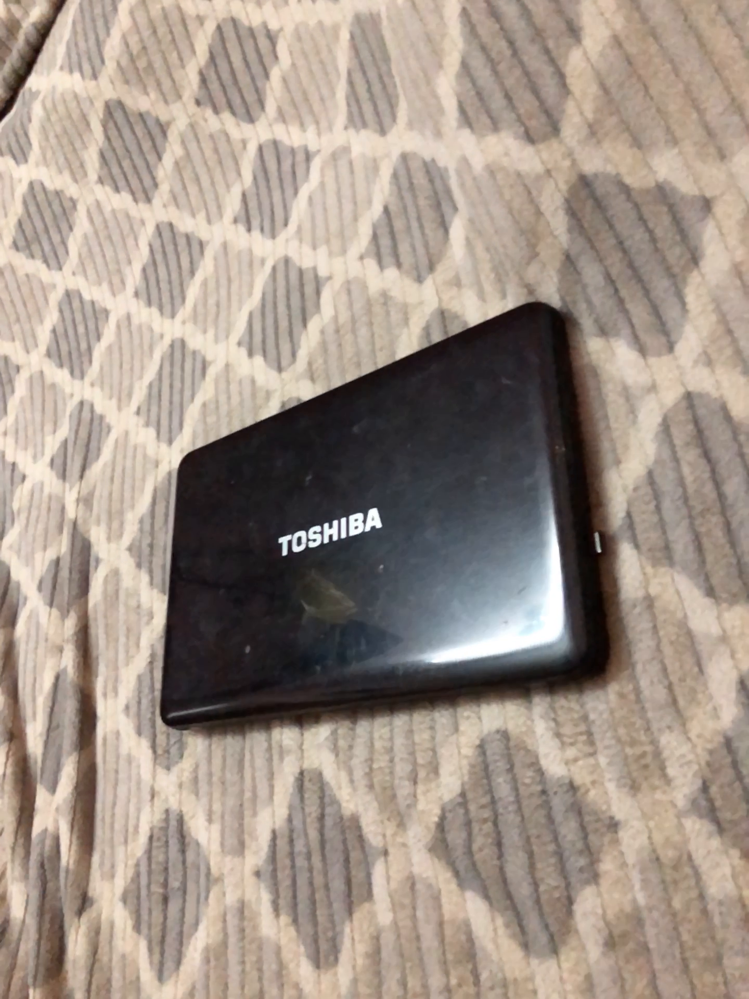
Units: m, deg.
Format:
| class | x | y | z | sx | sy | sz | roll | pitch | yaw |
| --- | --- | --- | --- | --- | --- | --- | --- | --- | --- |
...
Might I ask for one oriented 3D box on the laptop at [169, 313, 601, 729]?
| class | x | y | z | sx | sy | sz | roll | pitch | yaw |
| --- | --- | --- | --- | --- | --- | --- | --- | --- | --- |
| laptop | -0.019 | 0.034 | 0.628 | 0.376 | 0.023 | 0.249 | -18 | 59 | 37 |
